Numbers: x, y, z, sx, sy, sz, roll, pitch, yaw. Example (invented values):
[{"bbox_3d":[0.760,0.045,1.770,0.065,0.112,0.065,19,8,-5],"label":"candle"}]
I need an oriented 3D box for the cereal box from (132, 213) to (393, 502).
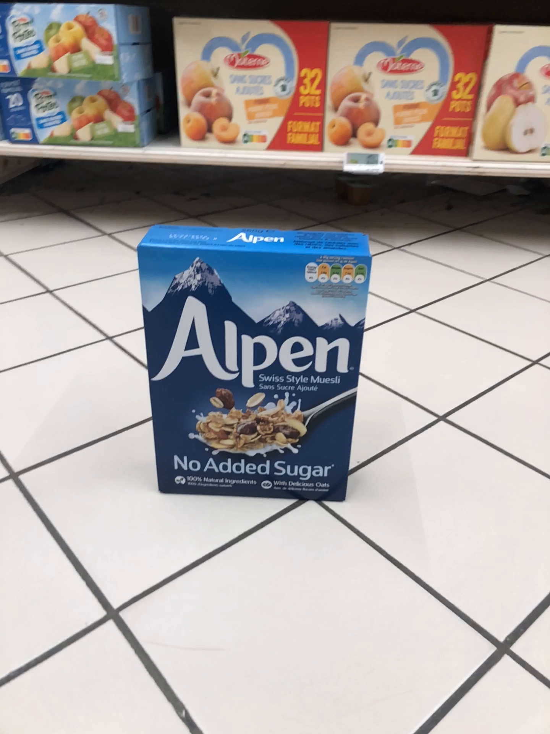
[{"bbox_3d":[-0.010,-0.001,0.498,0.180,0.229,0.060,2,29,2],"label":"cereal box"}]
